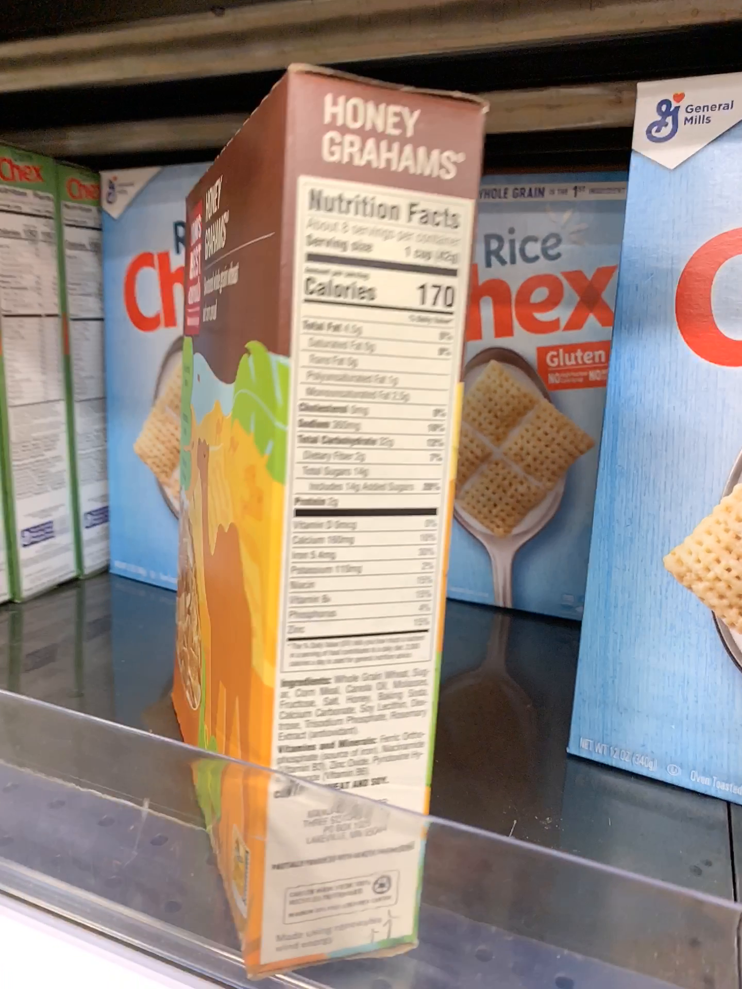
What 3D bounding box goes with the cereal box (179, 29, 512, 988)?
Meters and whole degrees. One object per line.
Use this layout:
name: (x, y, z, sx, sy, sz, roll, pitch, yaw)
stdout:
cereal box: (-0.032, 0.001, 0.300, 0.050, 0.259, 0.201, 0, 10, -22)
